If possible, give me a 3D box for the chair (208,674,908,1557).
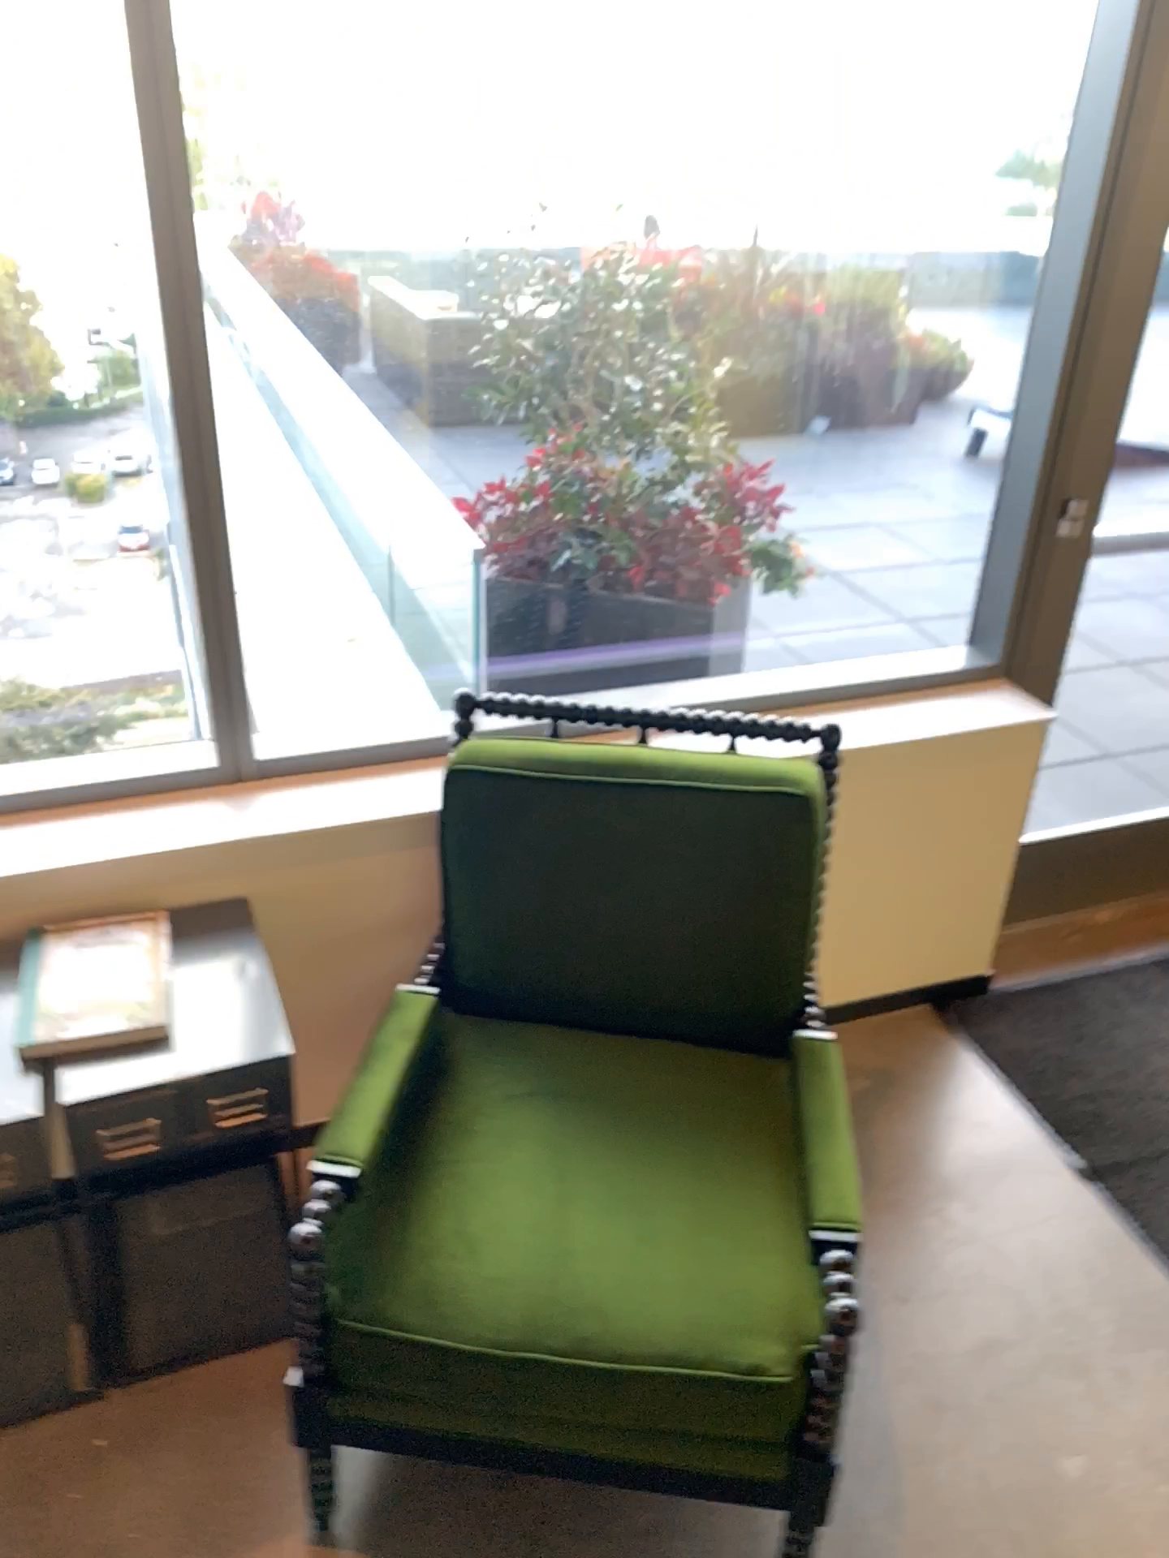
[{"bbox_3d":[0.008,0.504,1.925,0.760,0.984,0.925,6,29,6],"label":"chair"}]
